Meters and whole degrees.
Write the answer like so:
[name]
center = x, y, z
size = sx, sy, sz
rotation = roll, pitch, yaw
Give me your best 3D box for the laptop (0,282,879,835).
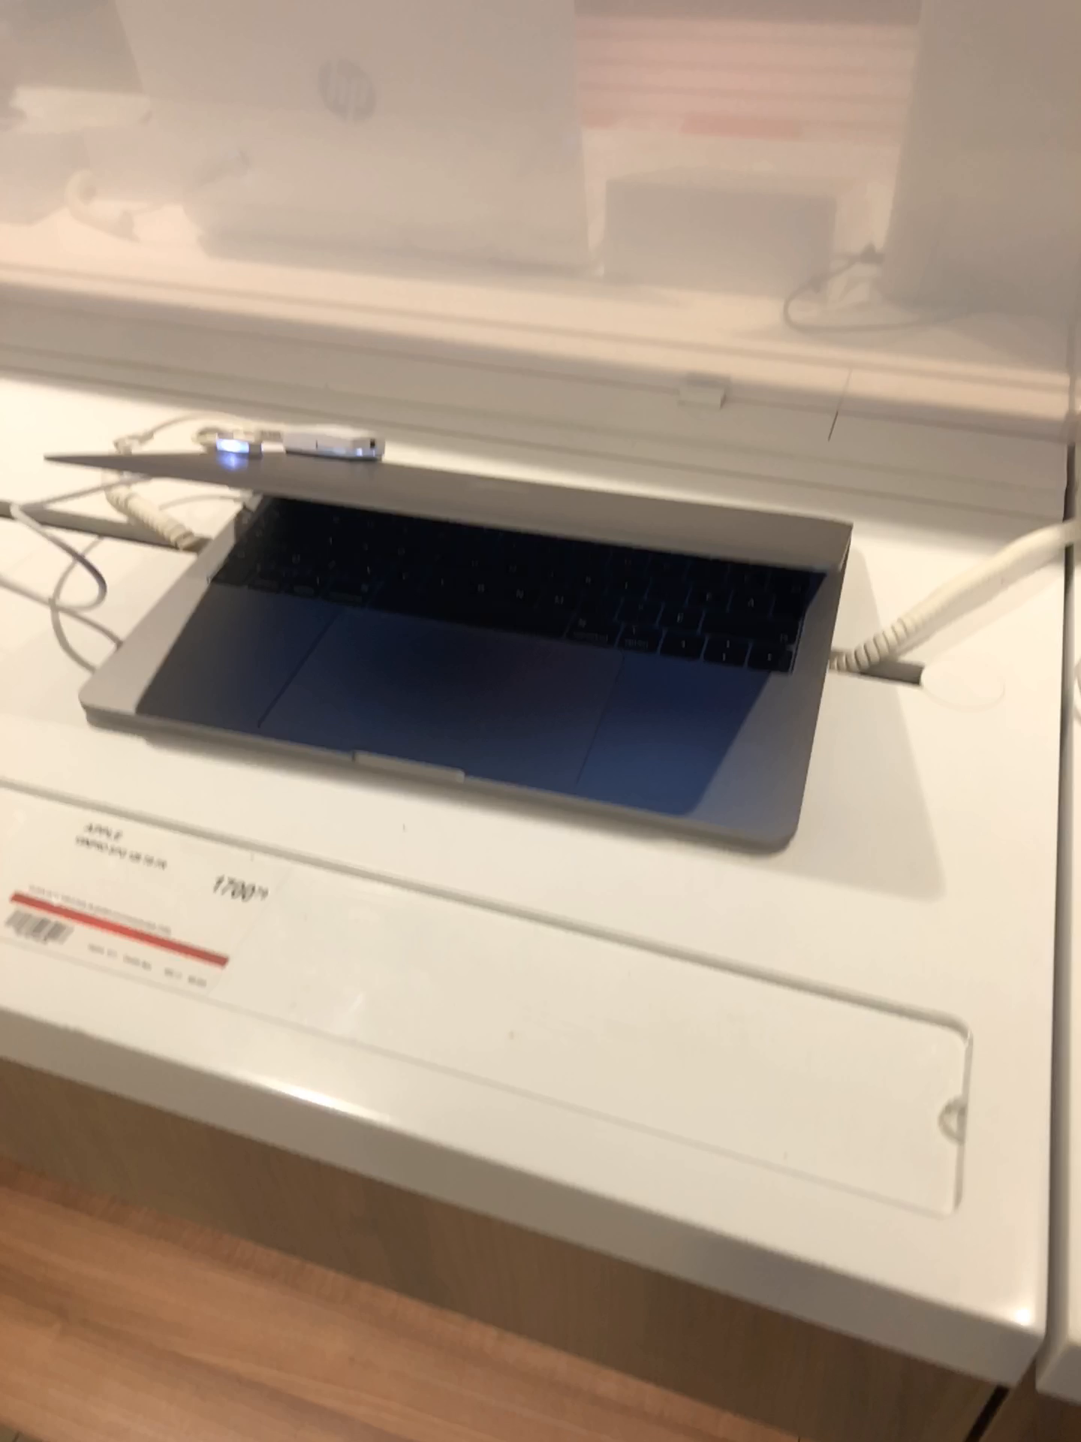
[laptop]
center = -0.026, -0.087, 0.511
size = 0.304, 0.104, 0.202
rotation = 10, 43, 14
